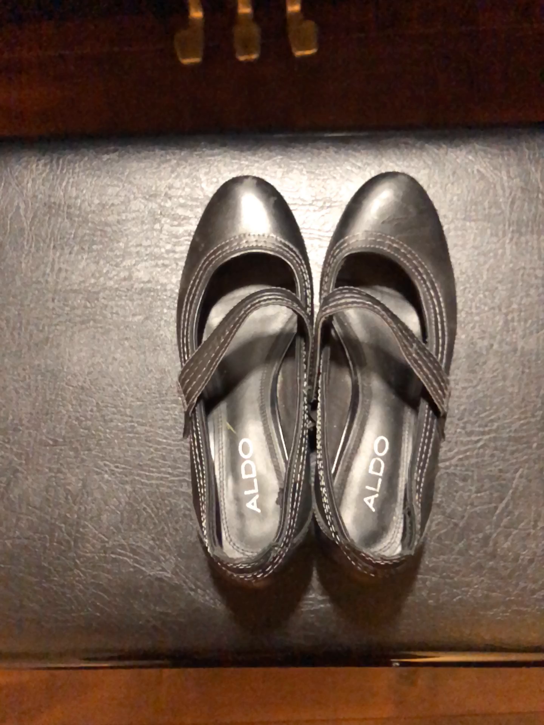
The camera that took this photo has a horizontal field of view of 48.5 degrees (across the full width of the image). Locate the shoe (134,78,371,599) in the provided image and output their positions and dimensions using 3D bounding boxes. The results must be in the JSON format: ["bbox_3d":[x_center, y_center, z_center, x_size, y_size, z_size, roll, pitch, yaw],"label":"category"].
[{"bbox_3d":[-0.011,-0.010,0.332,0.100,0.110,0.240,-3,80,2],"label":"shoe"}]

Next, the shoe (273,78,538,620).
[{"bbox_3d":[0.066,-0.007,0.327,0.100,0.110,0.240,6,81,3],"label":"shoe"}]
